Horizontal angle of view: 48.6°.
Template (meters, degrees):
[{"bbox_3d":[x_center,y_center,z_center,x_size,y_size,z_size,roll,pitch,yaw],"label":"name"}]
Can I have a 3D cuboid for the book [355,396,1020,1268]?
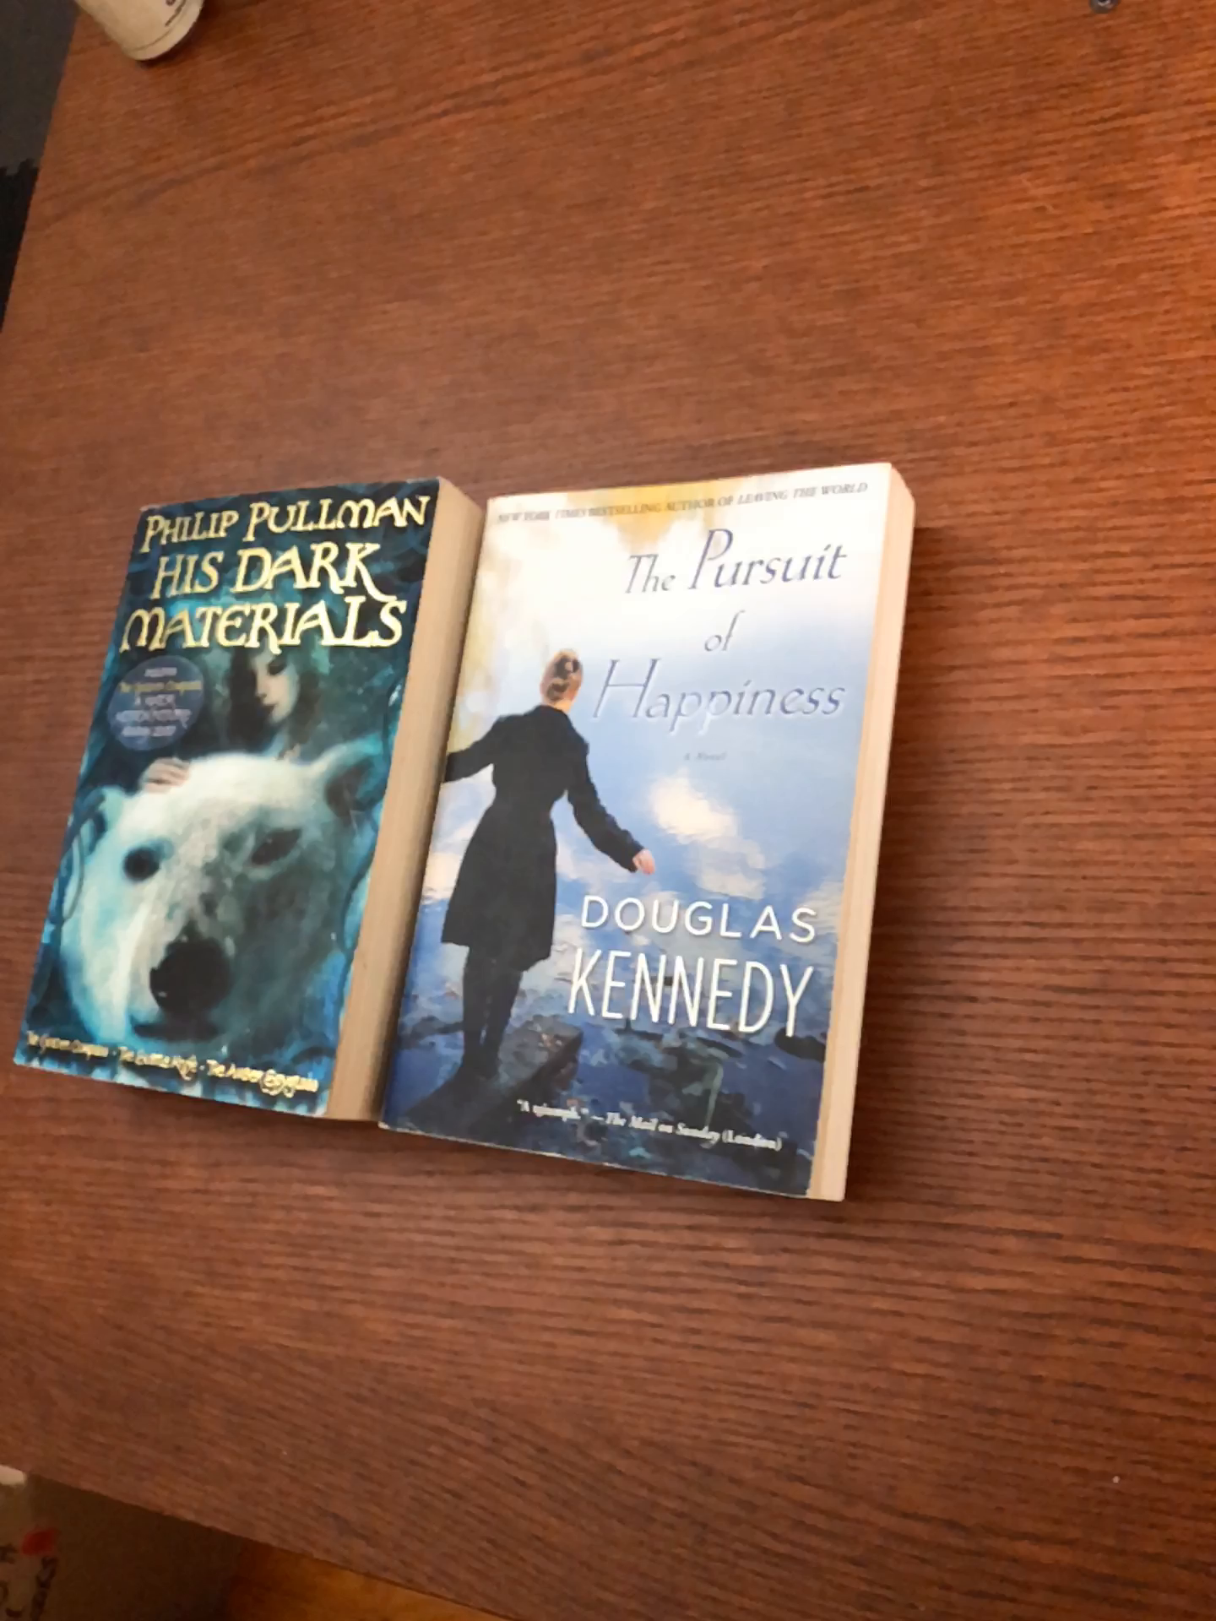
[{"bbox_3d":[0.027,-0.001,0.432,0.180,0.040,0.250,2,76,26],"label":"book"}]

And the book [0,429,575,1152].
[{"bbox_3d":[-0.122,-0.012,0.513,0.180,0.050,0.250,2,76,26],"label":"book"}]
